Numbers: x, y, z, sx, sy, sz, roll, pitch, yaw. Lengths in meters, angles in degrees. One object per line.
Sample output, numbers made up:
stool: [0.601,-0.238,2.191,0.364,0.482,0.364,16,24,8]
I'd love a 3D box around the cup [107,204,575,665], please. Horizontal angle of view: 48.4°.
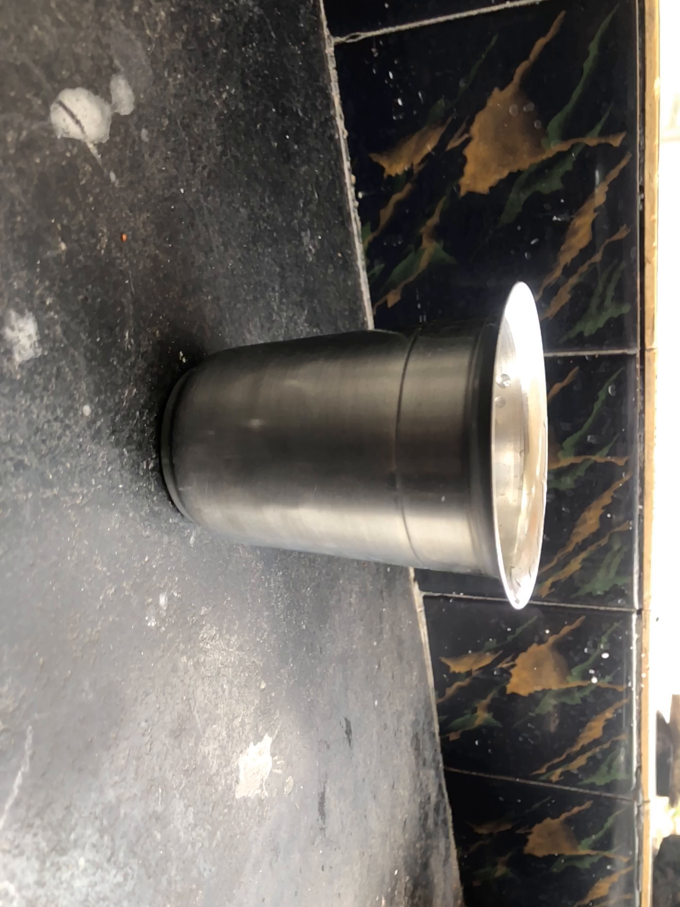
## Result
cup: [0.013,-0.005,0.227,0.090,0.099,0.090,0,90,-69]
